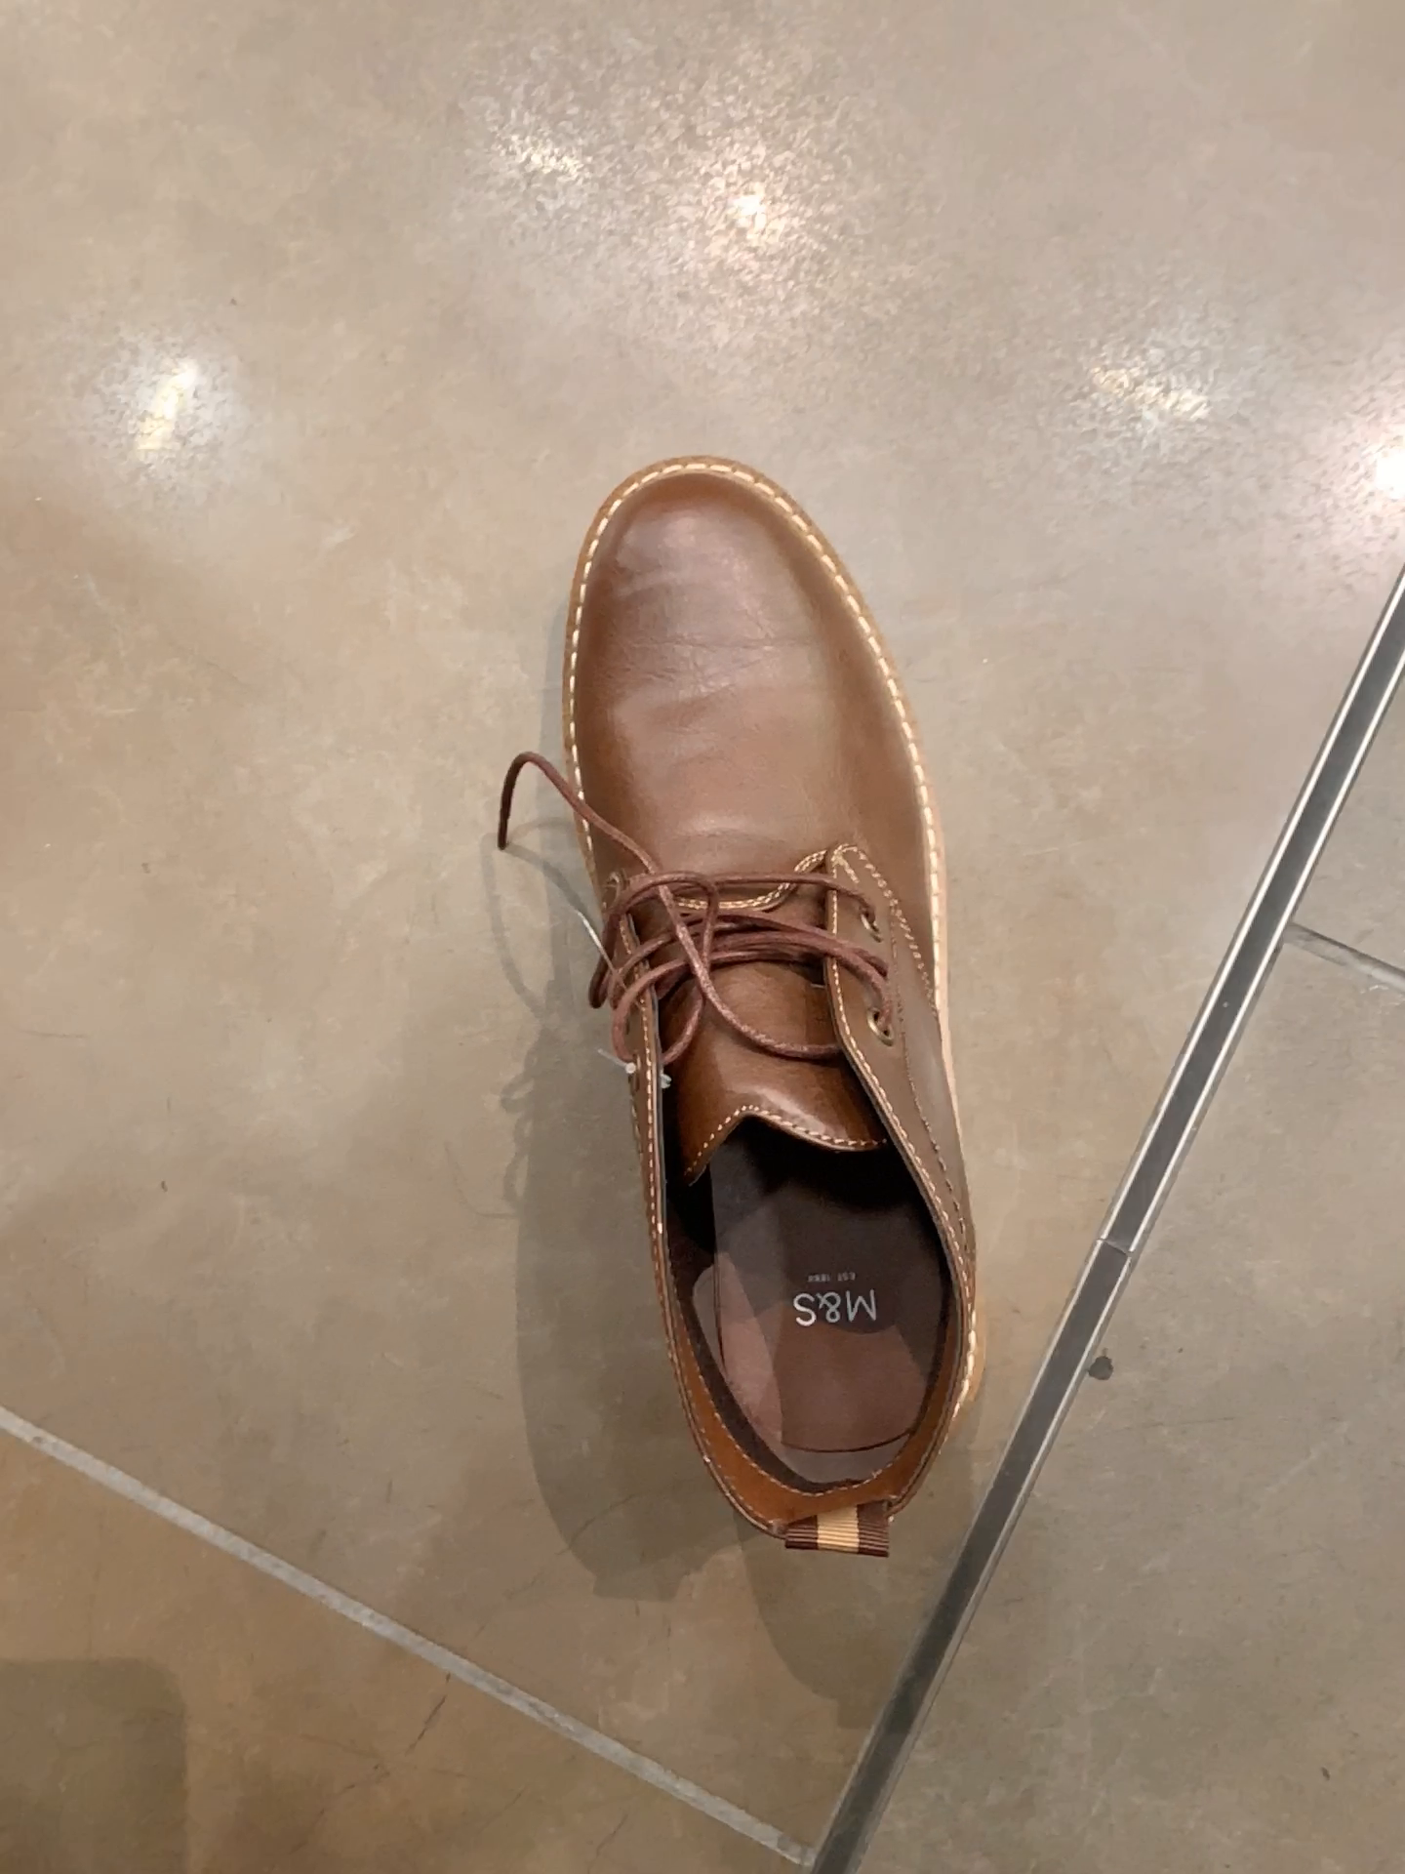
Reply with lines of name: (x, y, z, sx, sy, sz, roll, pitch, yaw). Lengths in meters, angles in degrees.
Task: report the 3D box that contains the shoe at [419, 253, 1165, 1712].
shoe: (0.021, 0.010, 0.364, 0.106, 0.120, 0.295, -11, 85, 5)
